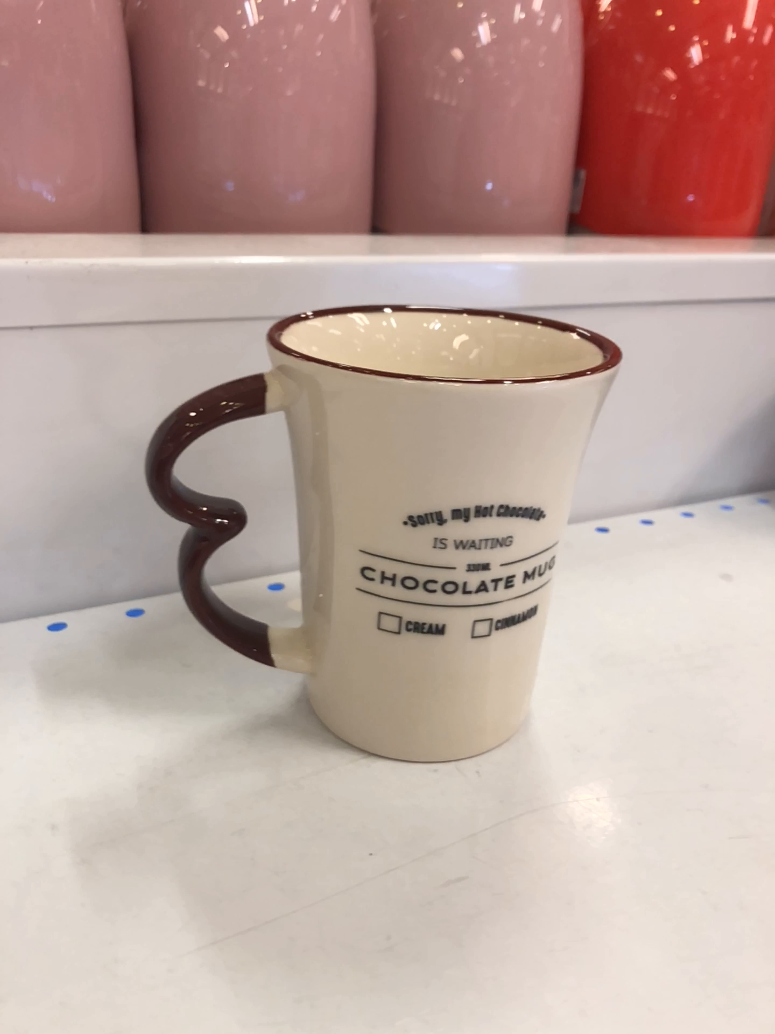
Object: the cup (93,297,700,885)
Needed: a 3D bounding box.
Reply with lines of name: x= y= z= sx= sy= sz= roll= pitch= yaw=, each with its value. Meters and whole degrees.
cup: x=-0.006 y=0.006 z=0.230 sx=0.120 sy=0.109 sz=0.090 roll=-7 pitch=25 yaw=-23
